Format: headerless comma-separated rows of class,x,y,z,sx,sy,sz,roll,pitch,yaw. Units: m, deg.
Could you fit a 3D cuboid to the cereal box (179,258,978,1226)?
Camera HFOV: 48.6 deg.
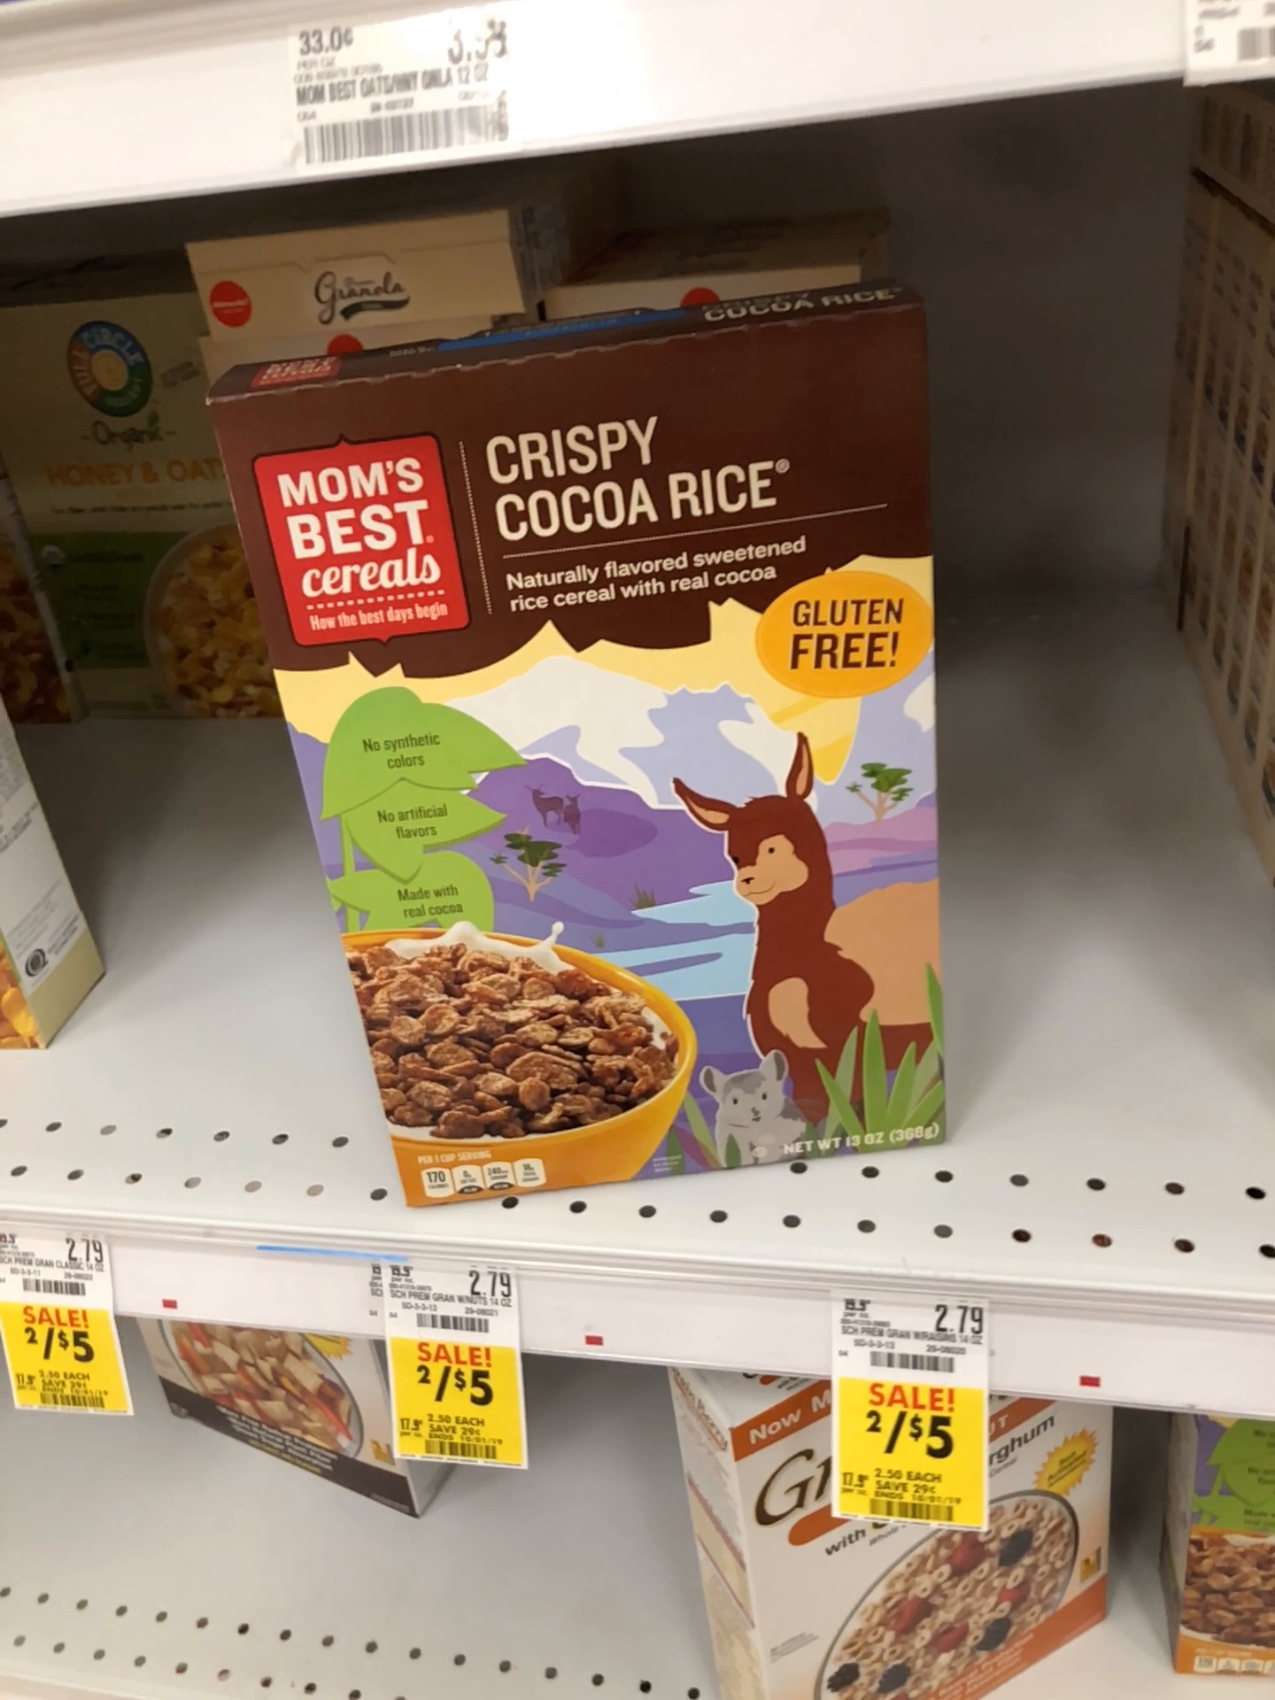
cereal box,-0.002,-0.025,0.457,0.200,0.279,0.080,-7,26,2
